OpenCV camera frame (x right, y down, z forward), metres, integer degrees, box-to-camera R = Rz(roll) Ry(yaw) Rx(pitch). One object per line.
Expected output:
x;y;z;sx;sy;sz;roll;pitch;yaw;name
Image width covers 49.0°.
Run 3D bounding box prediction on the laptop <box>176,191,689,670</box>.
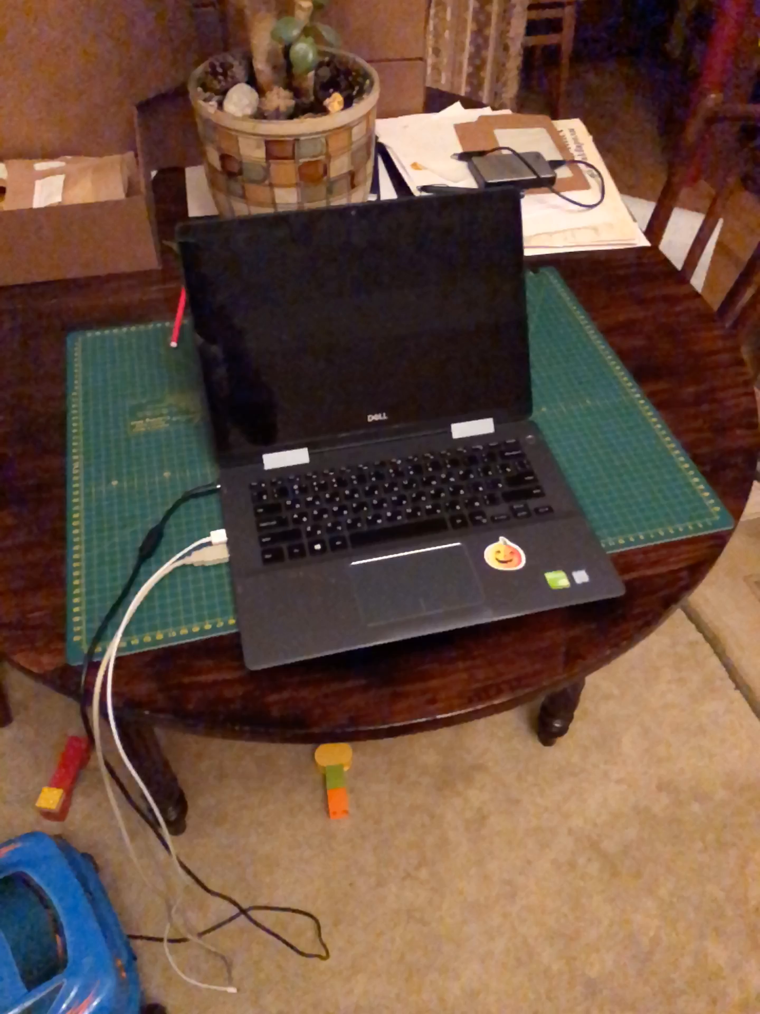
0.015;-0.084;0.723;0.321;0.192;0.338;-10;49;-9;laptop
